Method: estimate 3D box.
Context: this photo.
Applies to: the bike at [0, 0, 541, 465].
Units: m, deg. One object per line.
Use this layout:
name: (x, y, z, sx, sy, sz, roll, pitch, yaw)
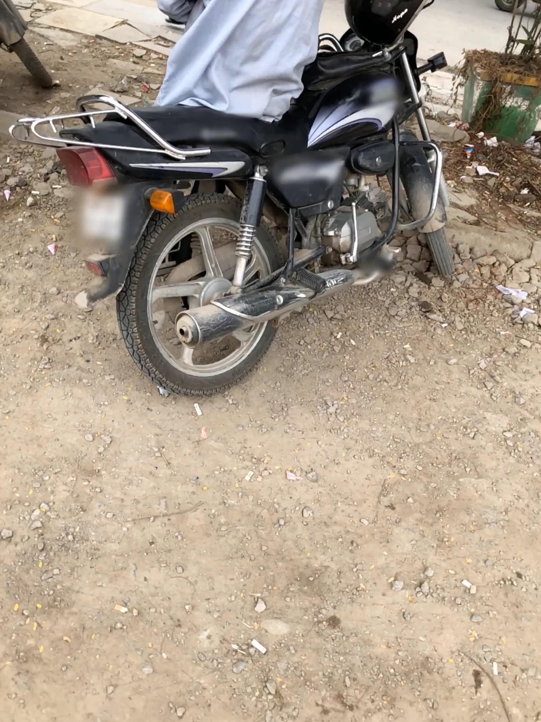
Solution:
bike: (0.025, -0.703, 1.933, 0.739, 1.170, 1.603, 34, 46, 23)
